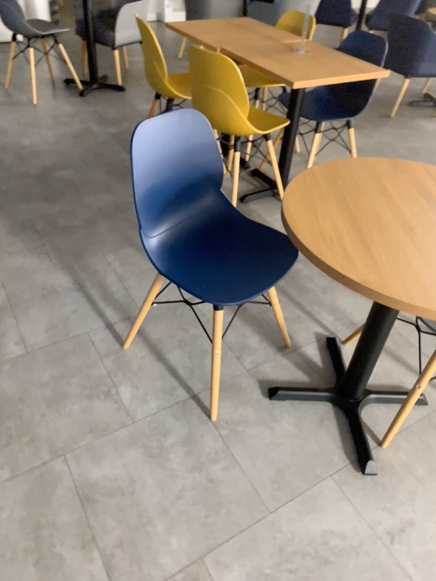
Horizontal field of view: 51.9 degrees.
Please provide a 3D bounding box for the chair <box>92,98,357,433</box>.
[{"bbox_3d":[-0.005,-0.082,1.431,0.499,0.809,0.492,33,47,29],"label":"chair"}]
